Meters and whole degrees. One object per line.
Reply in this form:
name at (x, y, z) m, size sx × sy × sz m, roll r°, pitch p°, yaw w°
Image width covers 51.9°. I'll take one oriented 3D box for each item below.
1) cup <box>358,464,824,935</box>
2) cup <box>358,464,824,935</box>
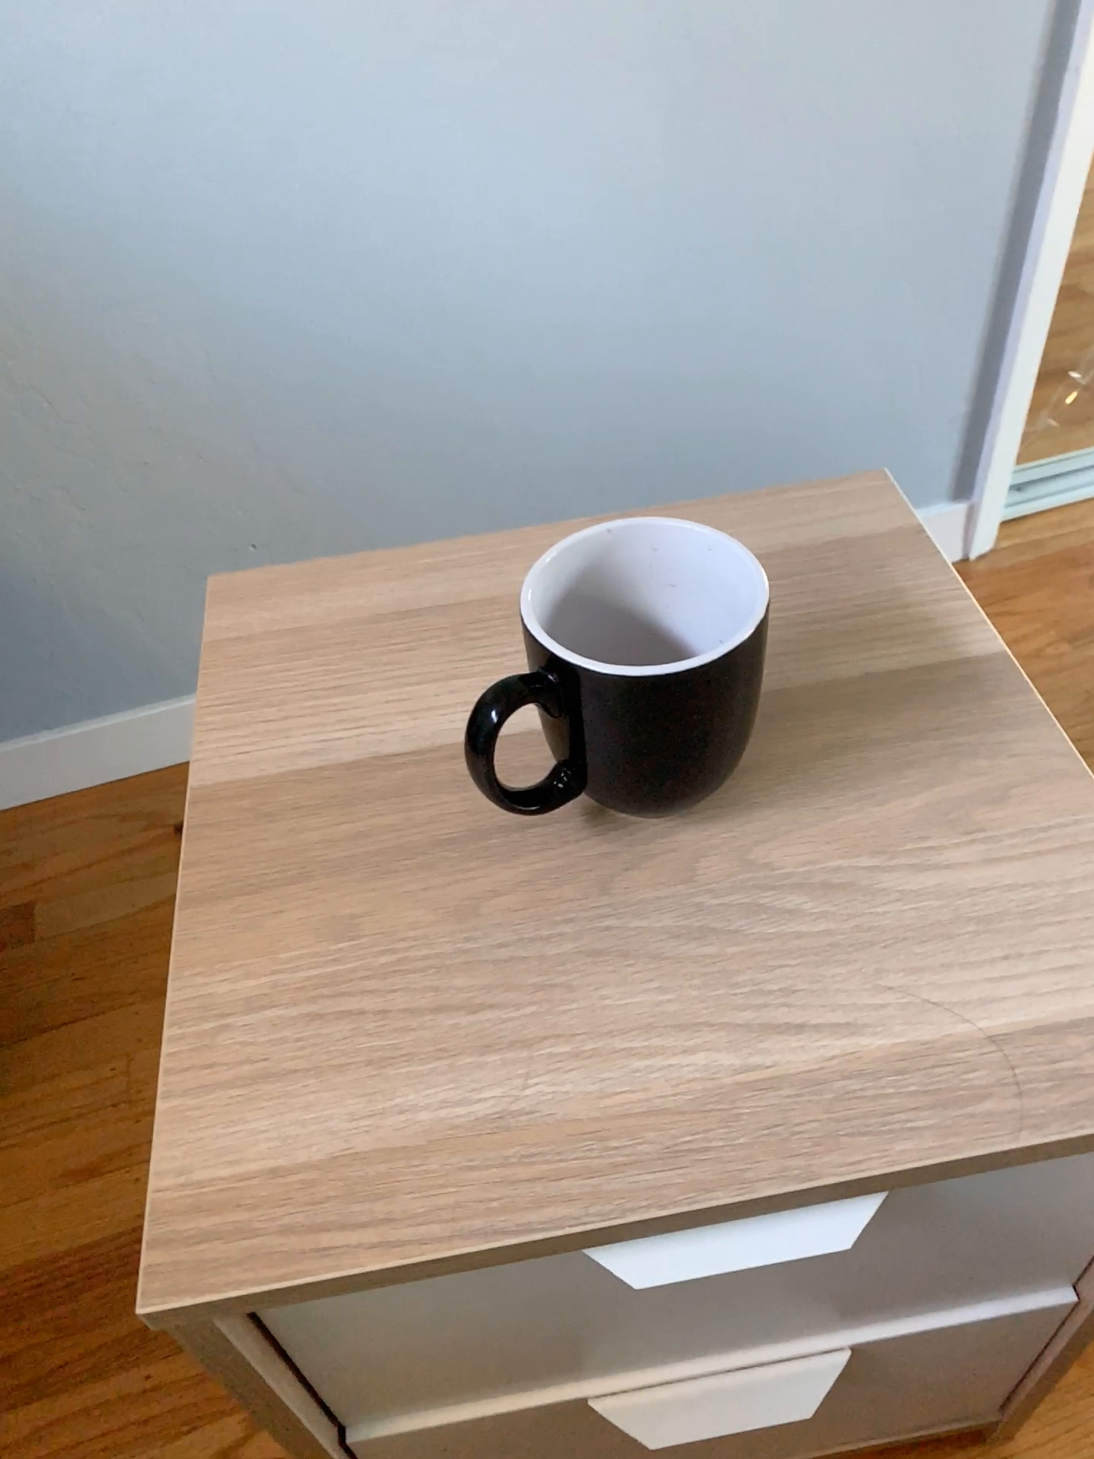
cup at (0.021, -0.017, 0.466) m, size 0.150 × 0.100 × 0.100 m, roll -33°, pitch 52°, yaw -24°
cup at (0.021, -0.017, 0.466) m, size 0.150 × 0.100 × 0.100 m, roll -33°, pitch 52°, yaw -24°
